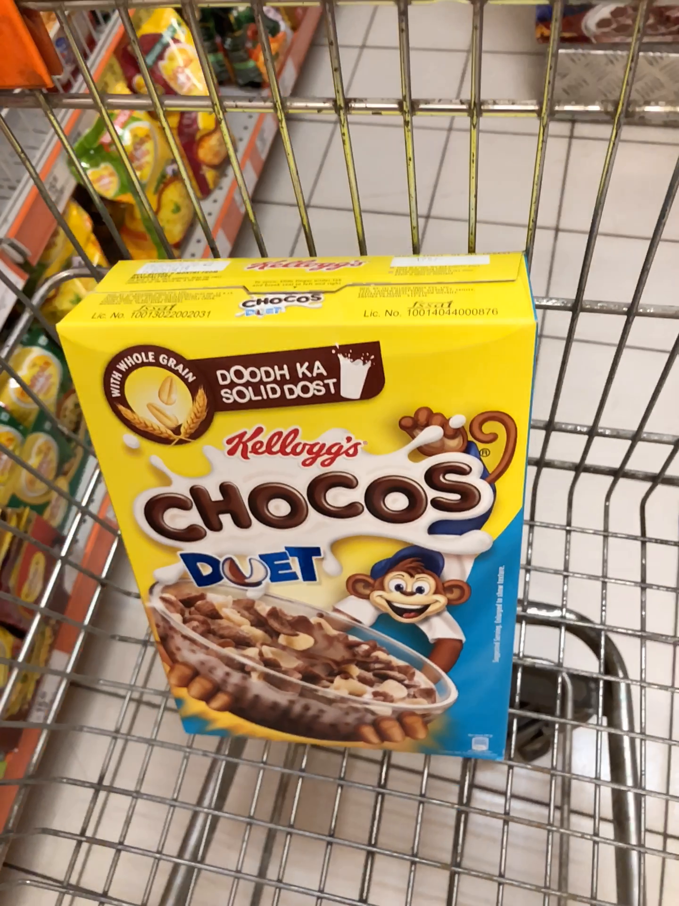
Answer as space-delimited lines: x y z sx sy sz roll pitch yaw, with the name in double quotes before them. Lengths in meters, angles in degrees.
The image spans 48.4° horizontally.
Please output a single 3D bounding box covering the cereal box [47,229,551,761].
"cereal box" -0.005 0.033 0.366 0.180 0.259 0.070 1 35 9
